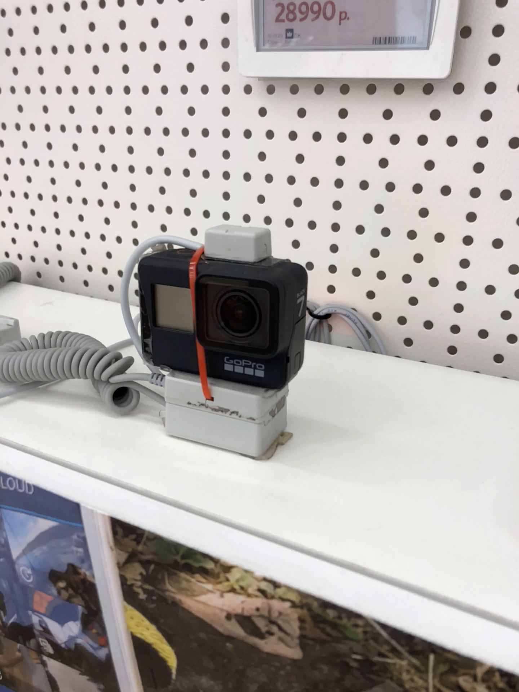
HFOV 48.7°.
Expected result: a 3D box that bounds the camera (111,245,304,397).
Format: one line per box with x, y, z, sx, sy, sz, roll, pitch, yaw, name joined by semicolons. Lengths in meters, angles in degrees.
-0.019;-0.012;0.221;0.064;0.043;0.032;9;22;20;camera
